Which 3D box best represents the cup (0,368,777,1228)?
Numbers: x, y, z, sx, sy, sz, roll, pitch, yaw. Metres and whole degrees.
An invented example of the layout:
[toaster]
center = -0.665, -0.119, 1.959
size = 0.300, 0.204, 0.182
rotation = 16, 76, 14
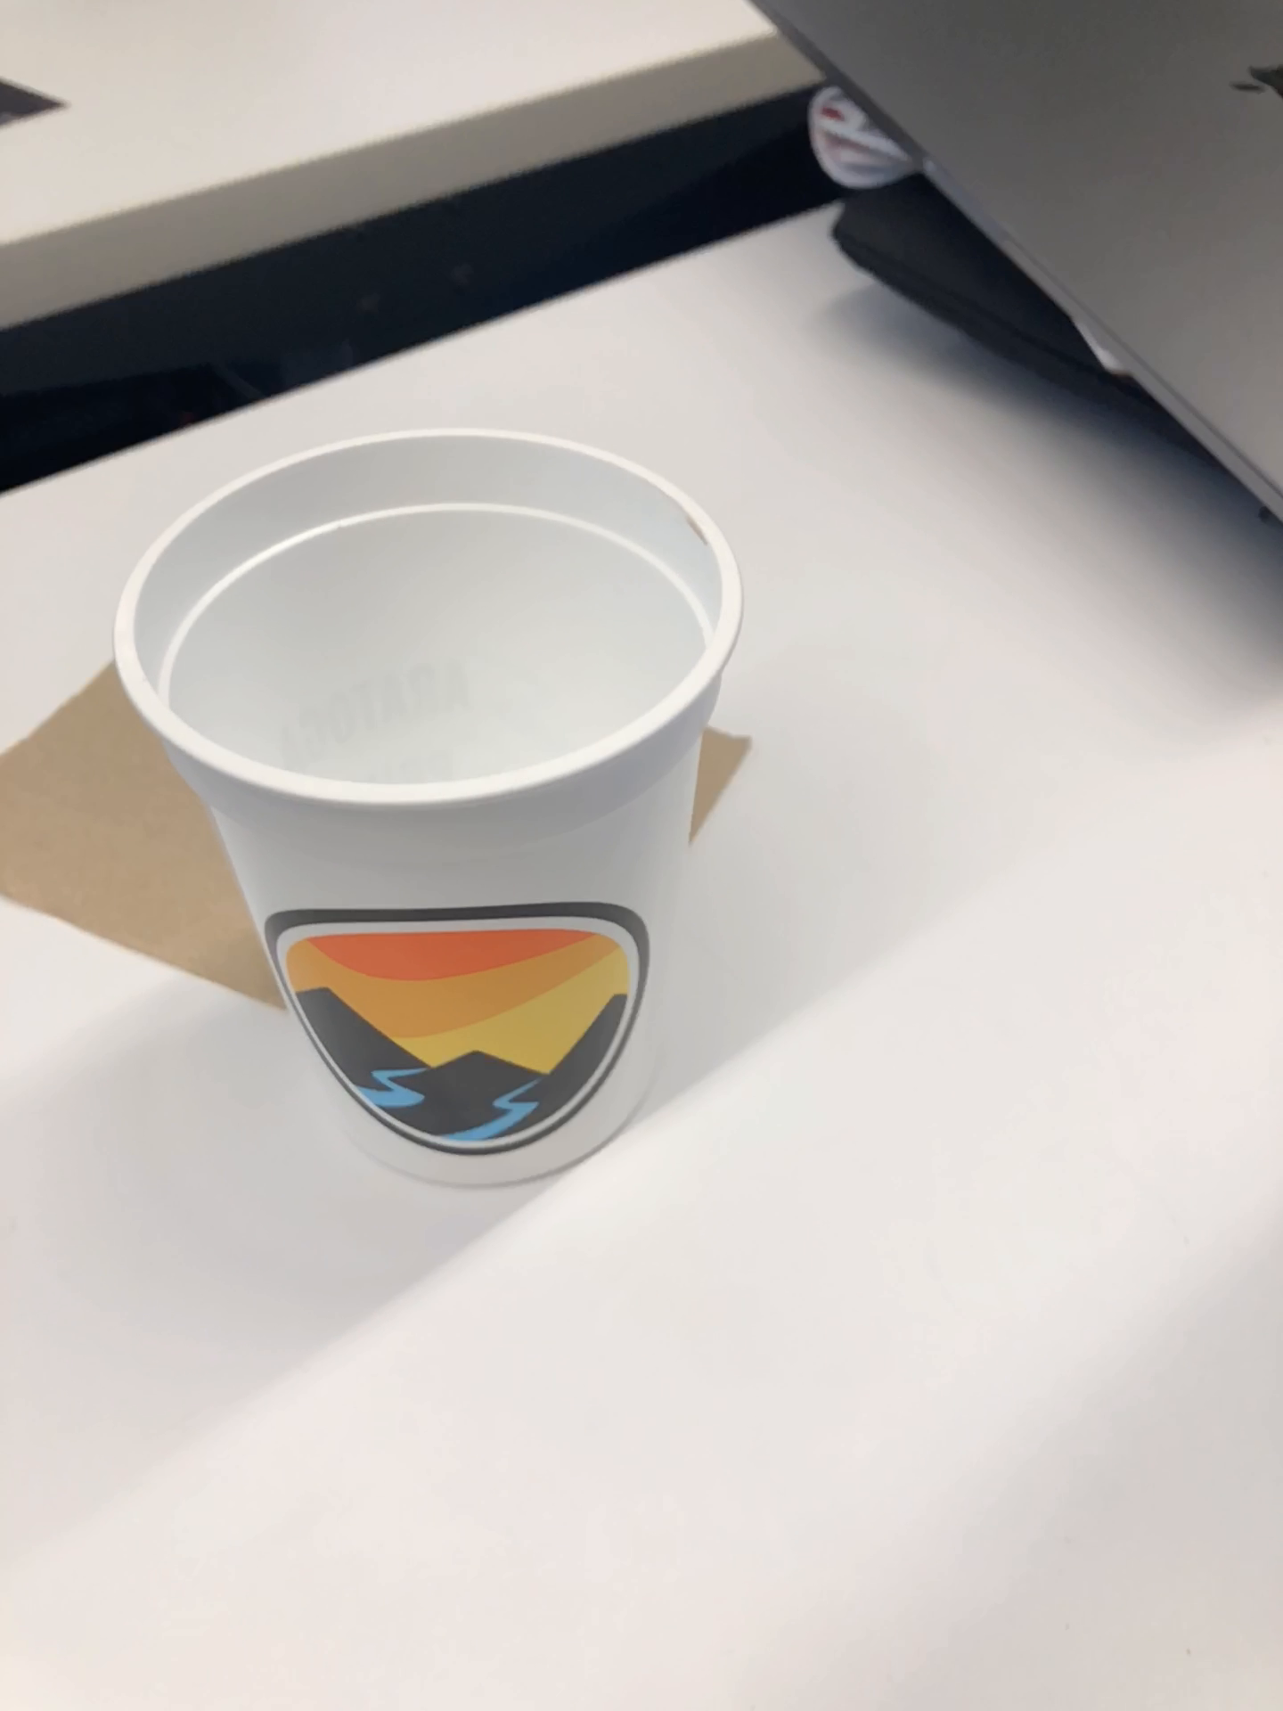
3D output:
[cup]
center = -0.030, -0.009, 0.228
size = 0.090, 0.100, 0.090
rotation = 0, 44, 0
